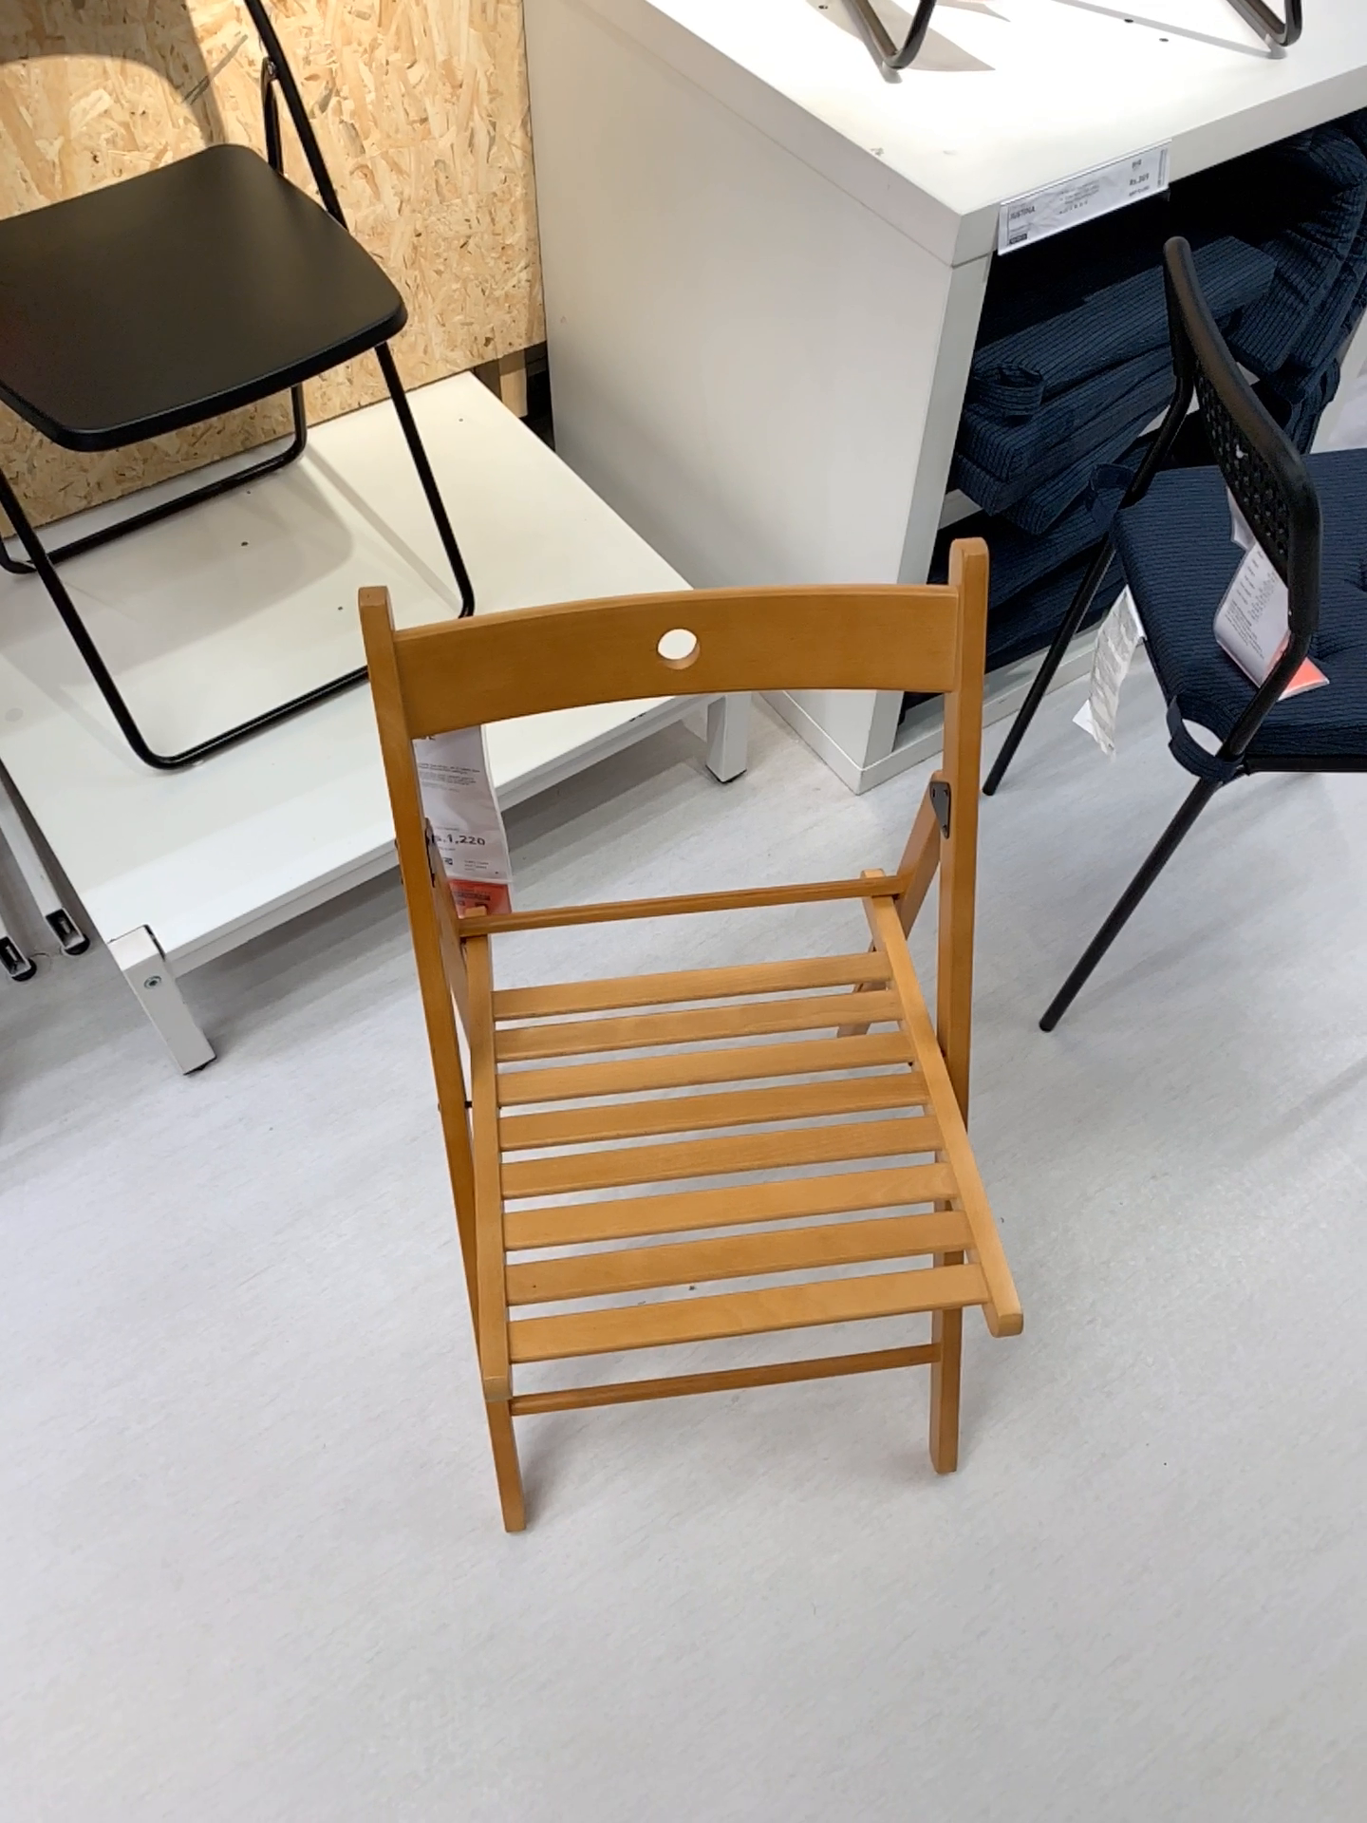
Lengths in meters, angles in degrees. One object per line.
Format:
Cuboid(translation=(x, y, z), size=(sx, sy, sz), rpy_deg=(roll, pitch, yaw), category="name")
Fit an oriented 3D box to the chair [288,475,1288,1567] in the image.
Cuboid(translation=(0.017, 0.128, 1.143), size=(0.510, 0.698, 0.561), rpy_deg=(-6, 55, -5), category="chair")
